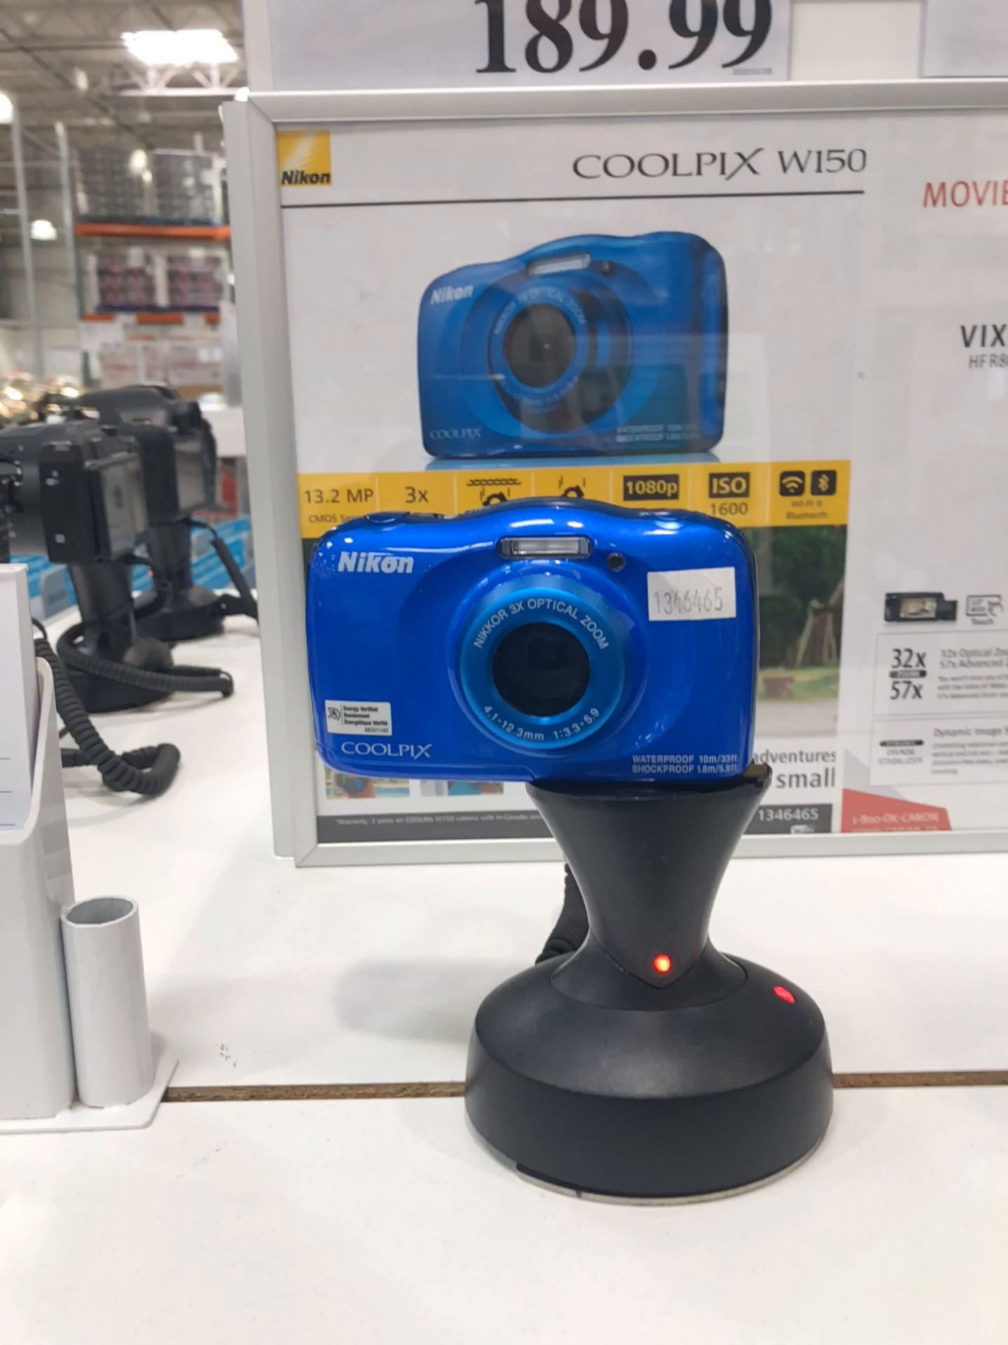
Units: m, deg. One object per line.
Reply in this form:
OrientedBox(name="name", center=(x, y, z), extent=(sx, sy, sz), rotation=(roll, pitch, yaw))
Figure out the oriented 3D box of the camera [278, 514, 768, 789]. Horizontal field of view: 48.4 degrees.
OrientedBox(name="camera", center=(0.005, -0.006, 0.278), extent=(0.110, 0.060, 0.040), rotation=(0, 13, 3))
